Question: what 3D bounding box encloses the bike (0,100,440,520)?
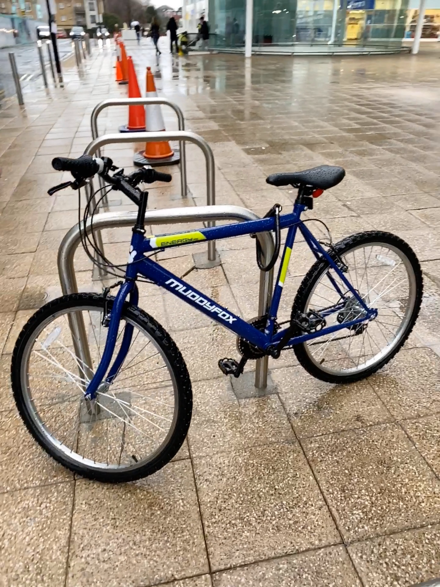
[{"bbox_3d":[0.063,-0.021,1.600,1.594,1.012,0.600,-11,32,-14],"label":"bike"}]
